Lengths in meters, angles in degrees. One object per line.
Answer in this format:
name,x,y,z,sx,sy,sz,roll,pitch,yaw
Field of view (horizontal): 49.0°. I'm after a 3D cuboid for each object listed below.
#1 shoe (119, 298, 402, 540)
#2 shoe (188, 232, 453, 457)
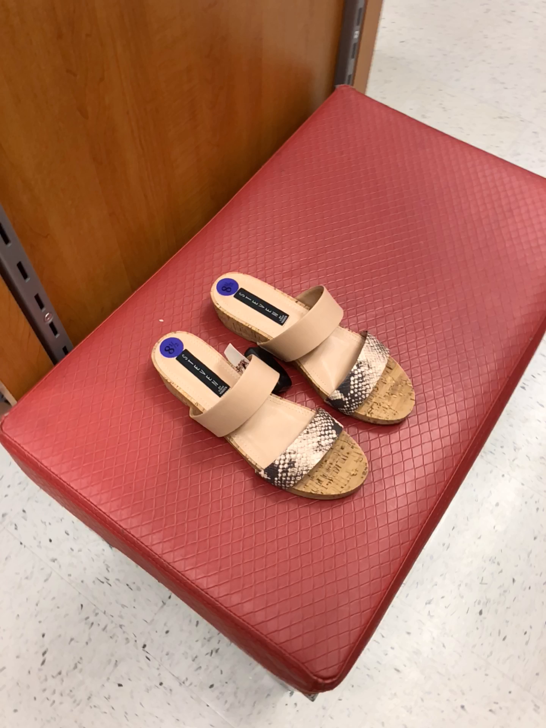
shoe,-0.016,0.052,0.599,0.257,0.085,0.095,31,64,15
shoe,0.043,-0.024,0.642,0.257,0.085,0.096,32,64,16
